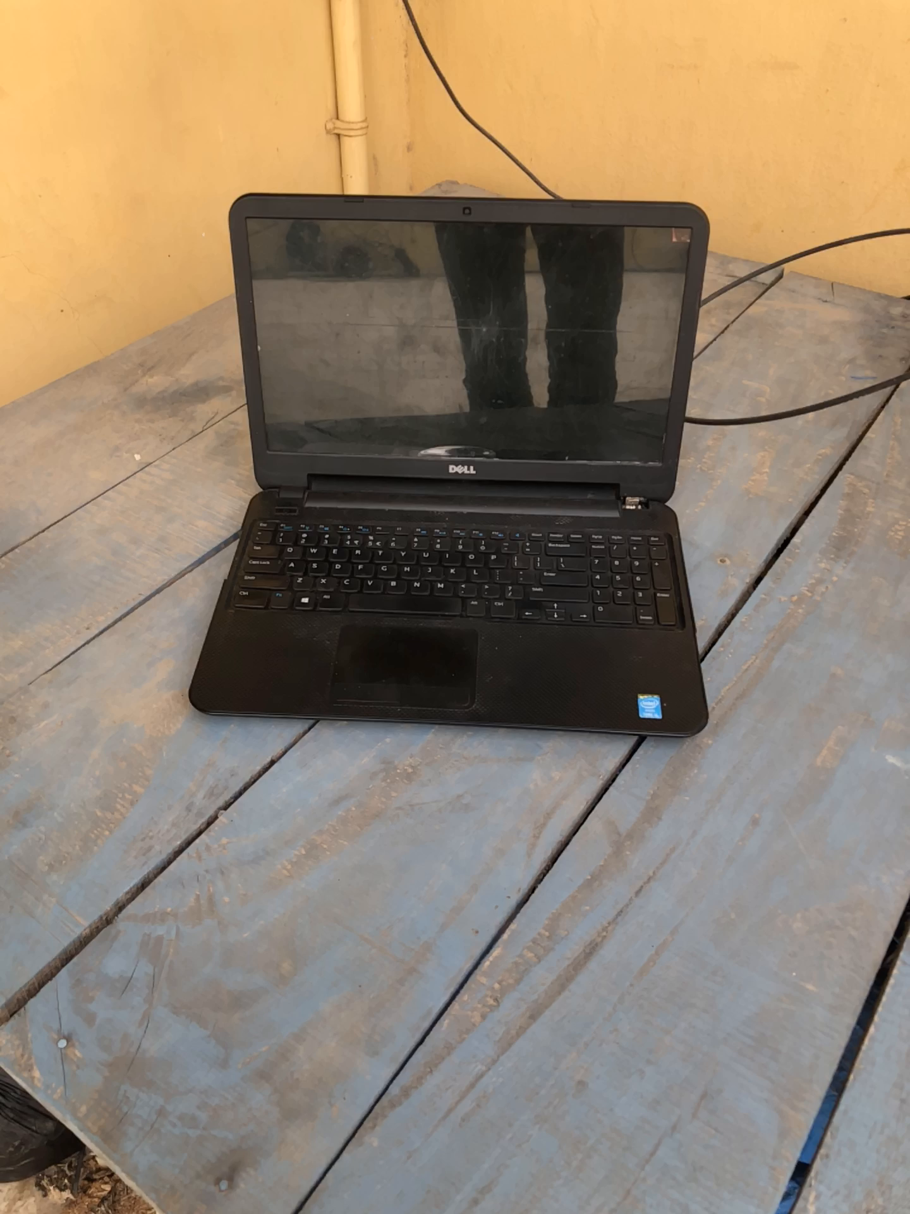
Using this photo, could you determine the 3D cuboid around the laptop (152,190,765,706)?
[{"bbox_3d":[0.011,-0.127,0.718,0.331,0.214,0.308,2,43,3],"label":"laptop"}]
